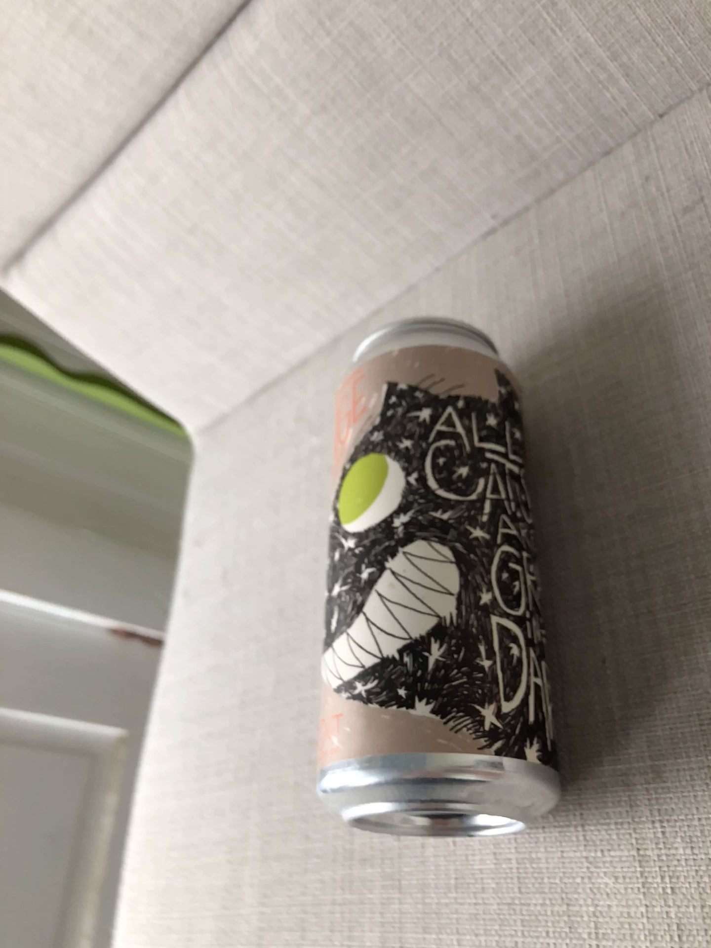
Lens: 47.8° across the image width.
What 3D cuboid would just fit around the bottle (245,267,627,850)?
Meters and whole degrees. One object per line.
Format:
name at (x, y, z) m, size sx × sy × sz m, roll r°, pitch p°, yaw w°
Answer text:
bottle at (0.019, 0.028, 0.245) m, size 0.070 × 0.069 × 0.151 m, roll -27°, pitch 51°, yaw 37°
